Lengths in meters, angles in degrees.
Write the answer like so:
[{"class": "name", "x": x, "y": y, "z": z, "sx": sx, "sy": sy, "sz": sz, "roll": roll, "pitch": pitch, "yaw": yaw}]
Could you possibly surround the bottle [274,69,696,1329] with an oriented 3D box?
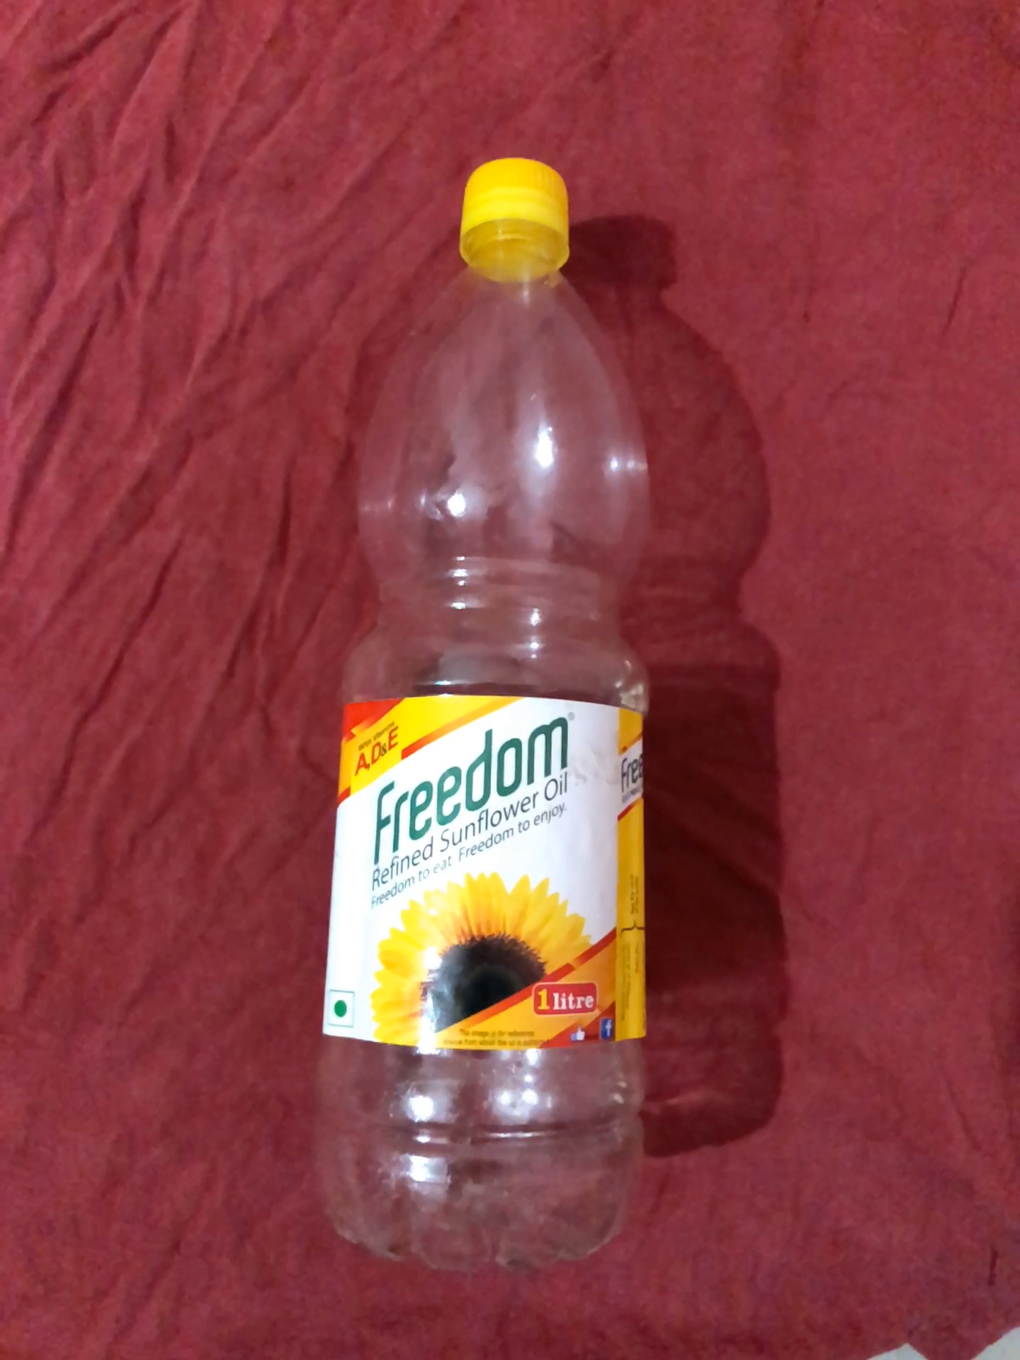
[{"class": "bottle", "x": -0.006, "y": 0.000, "z": 0.277, "sx": 0.080, "sy": 0.060, "sz": 0.270, "roll": 4, "pitch": 82, "yaw": -9}]
